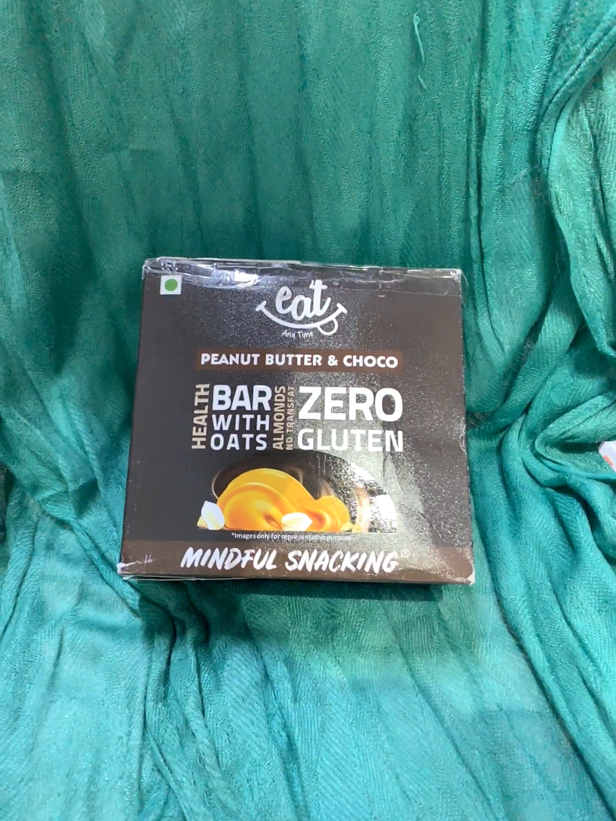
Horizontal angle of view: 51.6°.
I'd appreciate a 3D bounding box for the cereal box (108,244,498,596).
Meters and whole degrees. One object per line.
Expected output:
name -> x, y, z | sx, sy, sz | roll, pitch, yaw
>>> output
cereal box -> 0.001, 0.010, 0.292 | 0.140, 0.090, 0.140 | 1, 73, 3
